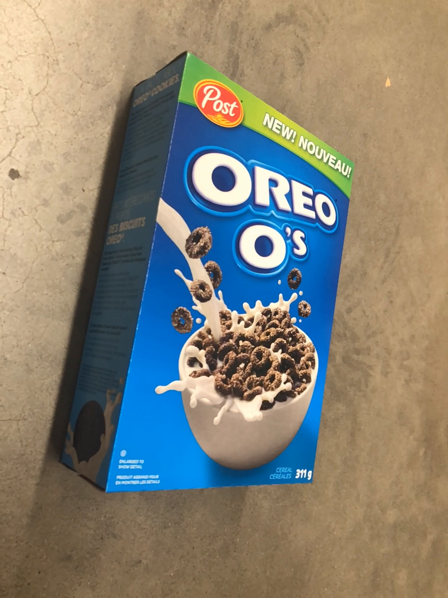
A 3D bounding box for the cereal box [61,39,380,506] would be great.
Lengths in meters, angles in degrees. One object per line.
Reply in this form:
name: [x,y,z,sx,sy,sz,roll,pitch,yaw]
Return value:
cereal box: [0.016,-0.003,0.380,0.211,0.070,0.280,15,80,-39]
